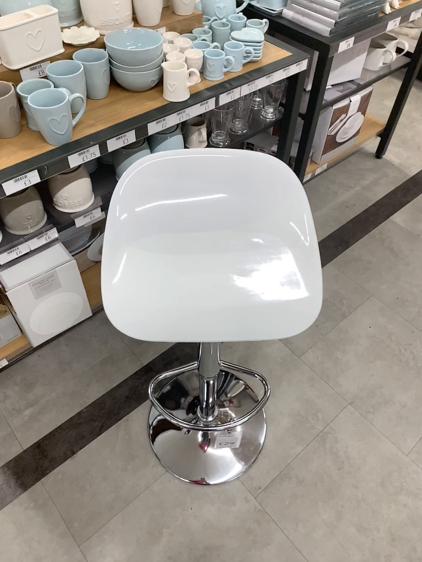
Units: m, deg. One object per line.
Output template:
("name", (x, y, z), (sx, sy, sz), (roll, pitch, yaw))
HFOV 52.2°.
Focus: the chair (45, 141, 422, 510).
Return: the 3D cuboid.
("chair", (0.020, 0.158, 0.989), (0.502, 0.776, 0.473), (-2, 51, -4))
